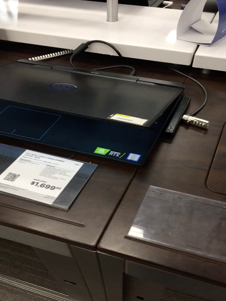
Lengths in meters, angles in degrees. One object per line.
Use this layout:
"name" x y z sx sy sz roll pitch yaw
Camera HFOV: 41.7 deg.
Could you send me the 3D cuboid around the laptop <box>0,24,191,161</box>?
"laptop" -0.092 -0.126 0.571 0.405 0.092 0.233 13 50 9
